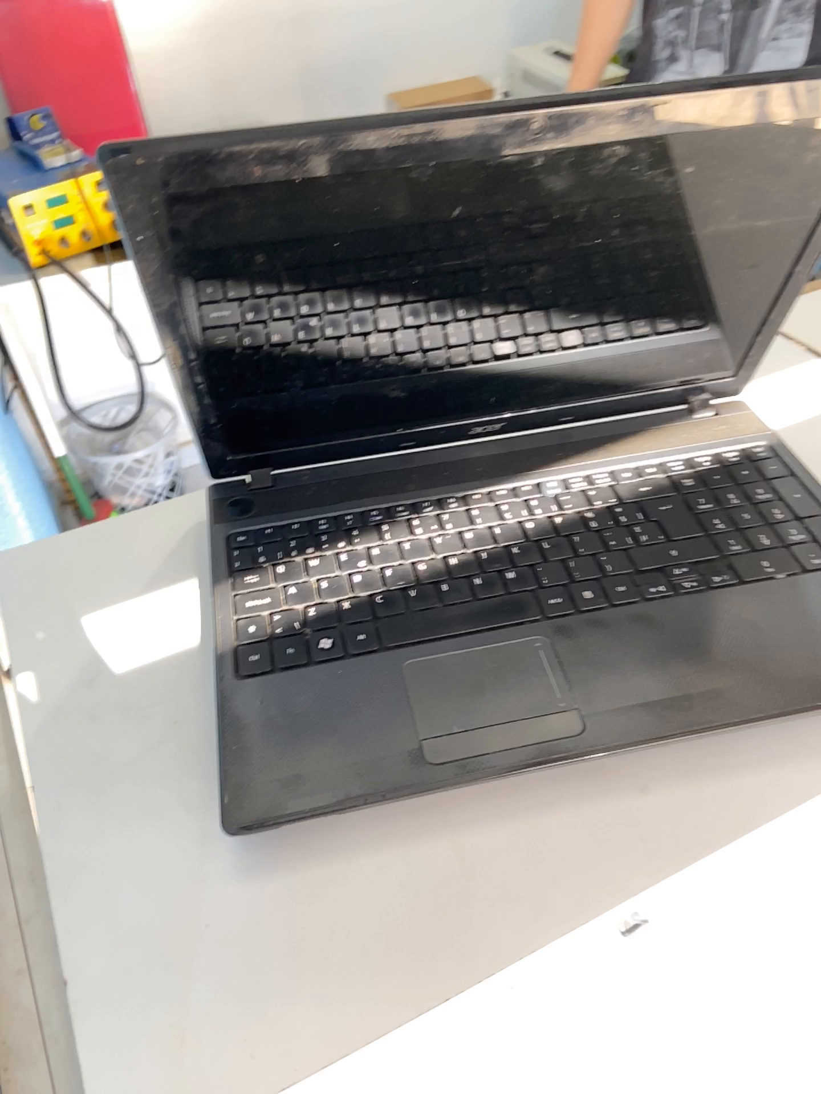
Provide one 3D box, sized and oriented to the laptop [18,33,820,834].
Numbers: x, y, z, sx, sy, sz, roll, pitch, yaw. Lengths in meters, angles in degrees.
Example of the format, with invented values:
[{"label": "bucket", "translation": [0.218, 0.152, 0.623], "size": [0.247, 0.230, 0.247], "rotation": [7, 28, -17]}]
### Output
[{"label": "laptop", "translation": [0.062, -0.071, 0.413], "size": [0.374, 0.234, 0.255], "rotation": [-10, 43, -7]}]
